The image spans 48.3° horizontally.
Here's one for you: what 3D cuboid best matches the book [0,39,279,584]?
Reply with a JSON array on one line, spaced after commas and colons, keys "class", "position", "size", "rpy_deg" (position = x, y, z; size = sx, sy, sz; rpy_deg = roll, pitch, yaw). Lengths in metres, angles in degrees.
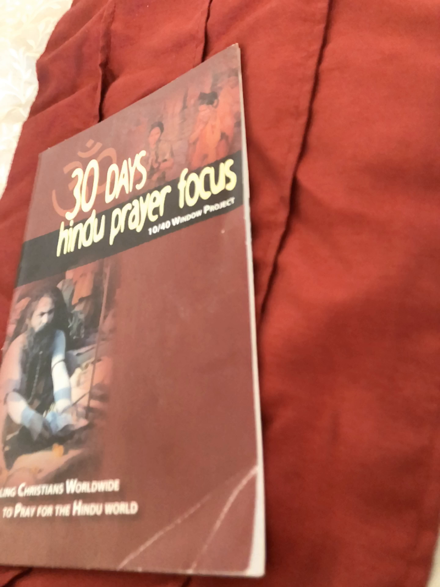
[{"class": "book", "position": [-0.049, -0.001, 0.211], "size": [0.142, 0.010, 0.210], "rpy_deg": [-14, 62, 27]}]
